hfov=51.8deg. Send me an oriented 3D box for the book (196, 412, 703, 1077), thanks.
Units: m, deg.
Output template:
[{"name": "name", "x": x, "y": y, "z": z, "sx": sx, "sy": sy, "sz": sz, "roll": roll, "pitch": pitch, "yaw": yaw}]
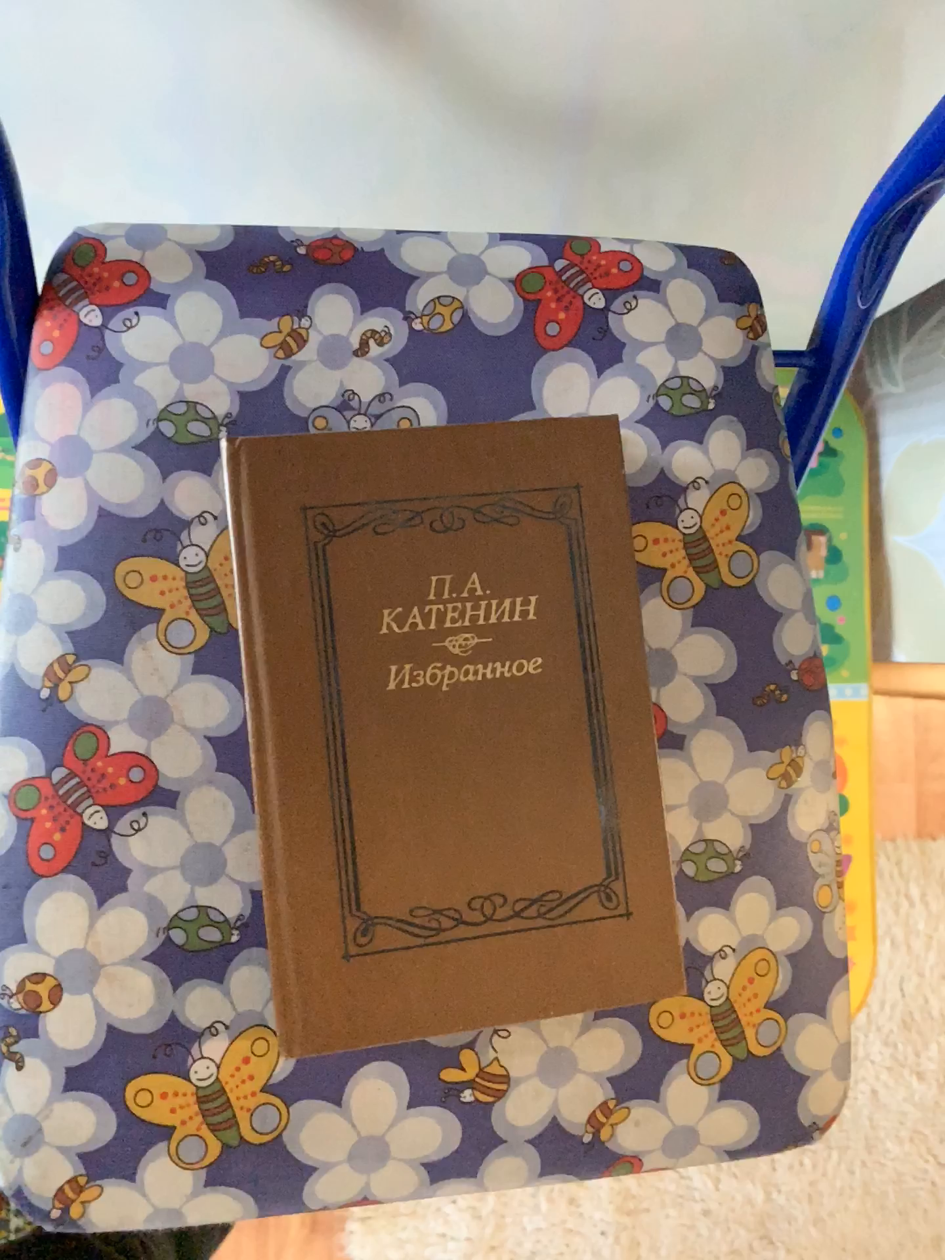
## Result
[{"name": "book", "x": -0.006, "y": 0.028, "z": 0.281, "sx": 0.124, "sy": 0.020, "sz": 0.170, "roll": -6, "pitch": 88, "yaw": -9}]
